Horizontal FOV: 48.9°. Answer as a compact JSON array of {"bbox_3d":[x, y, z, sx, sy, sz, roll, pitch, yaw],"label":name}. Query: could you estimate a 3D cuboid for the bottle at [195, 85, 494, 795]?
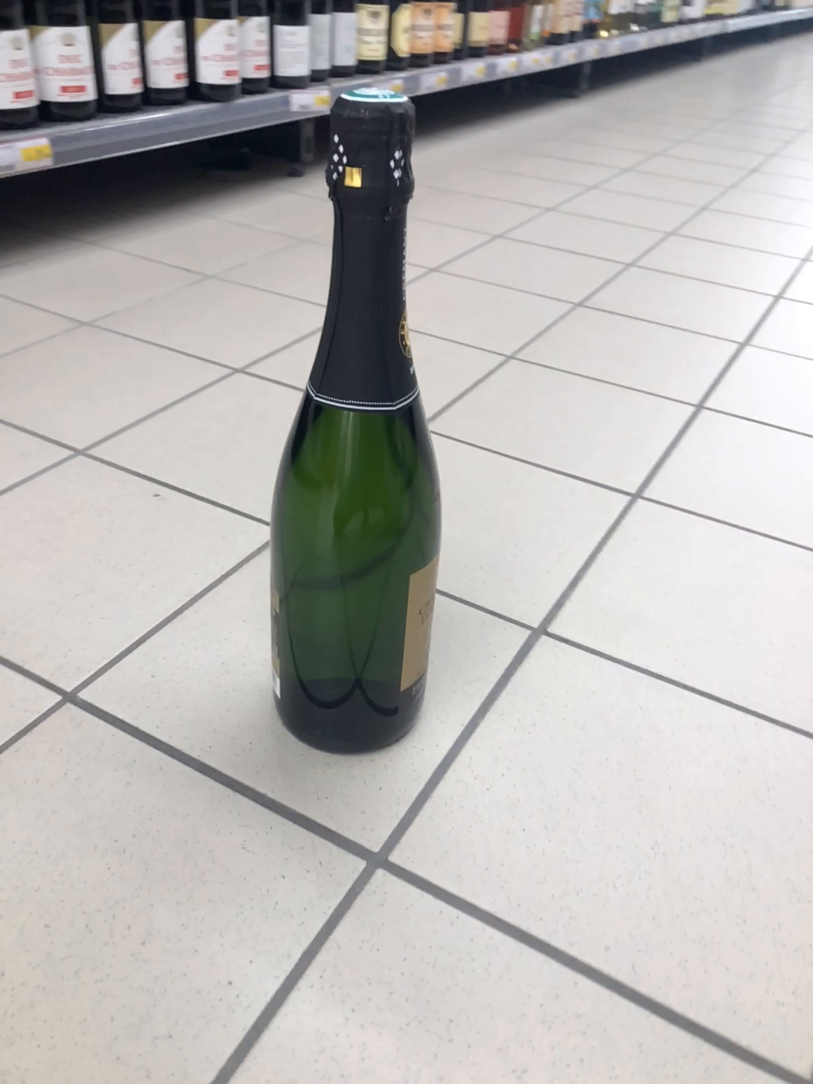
[{"bbox_3d":[-0.027,-0.034,0.420,0.090,0.308,0.101,9,33,7],"label":"bottle"}]
